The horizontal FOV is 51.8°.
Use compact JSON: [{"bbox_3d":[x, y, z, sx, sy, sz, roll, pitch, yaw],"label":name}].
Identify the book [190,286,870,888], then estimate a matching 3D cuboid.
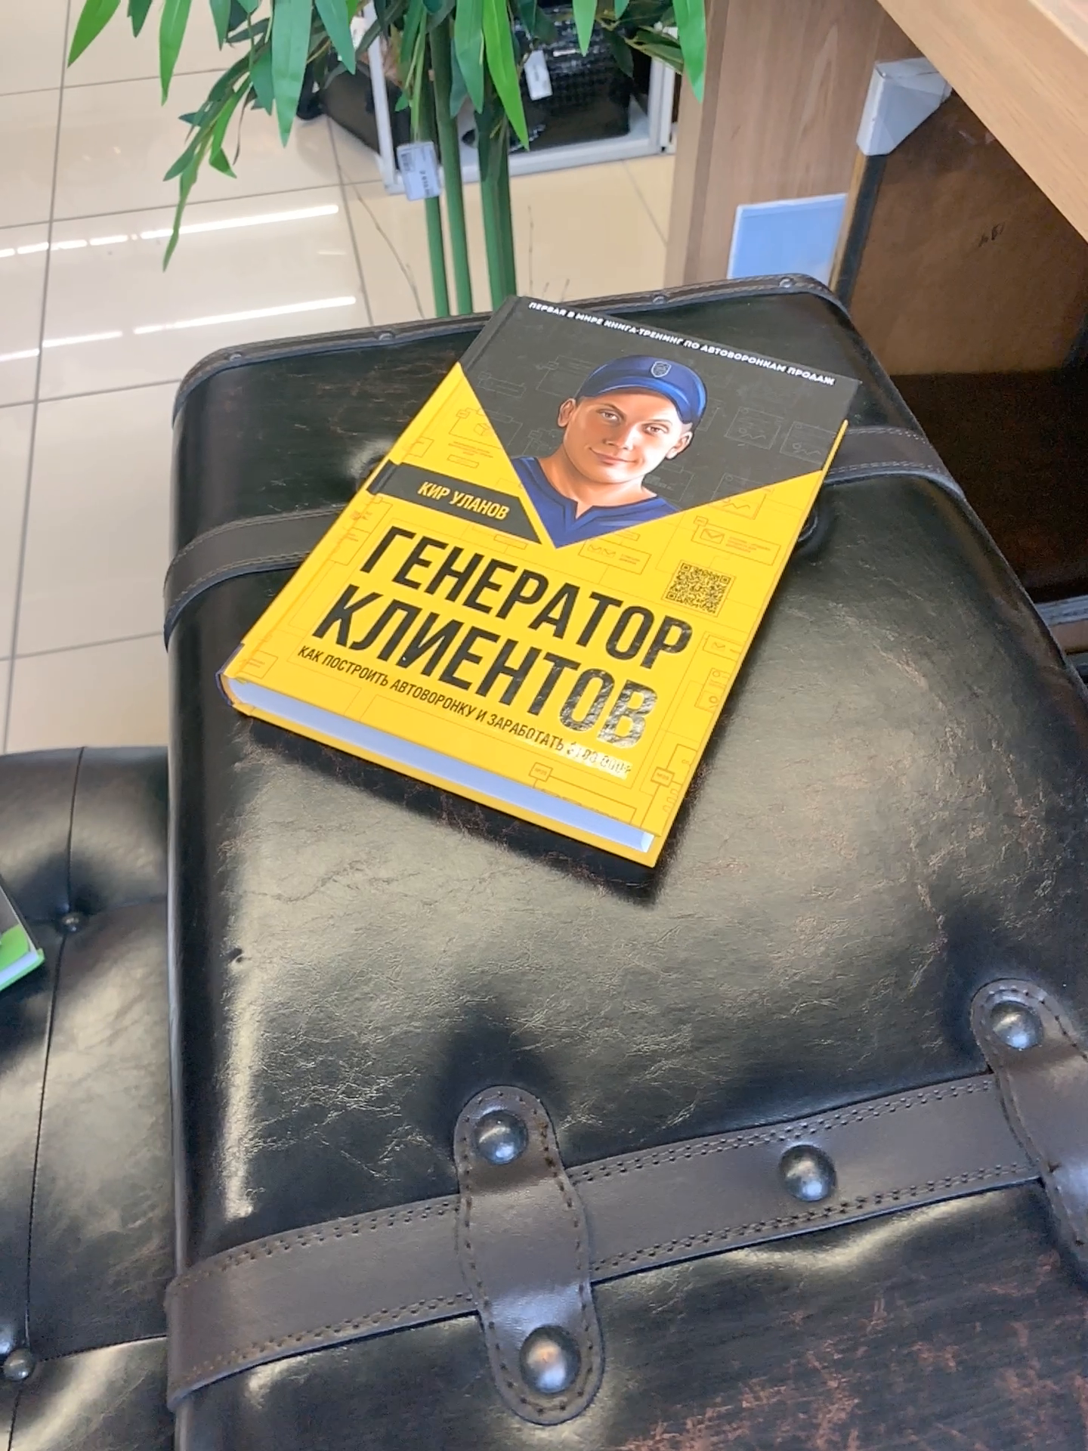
[{"bbox_3d":[0.008,-0.073,0.429,0.167,0.030,0.242,19,56,15],"label":"book"}]
